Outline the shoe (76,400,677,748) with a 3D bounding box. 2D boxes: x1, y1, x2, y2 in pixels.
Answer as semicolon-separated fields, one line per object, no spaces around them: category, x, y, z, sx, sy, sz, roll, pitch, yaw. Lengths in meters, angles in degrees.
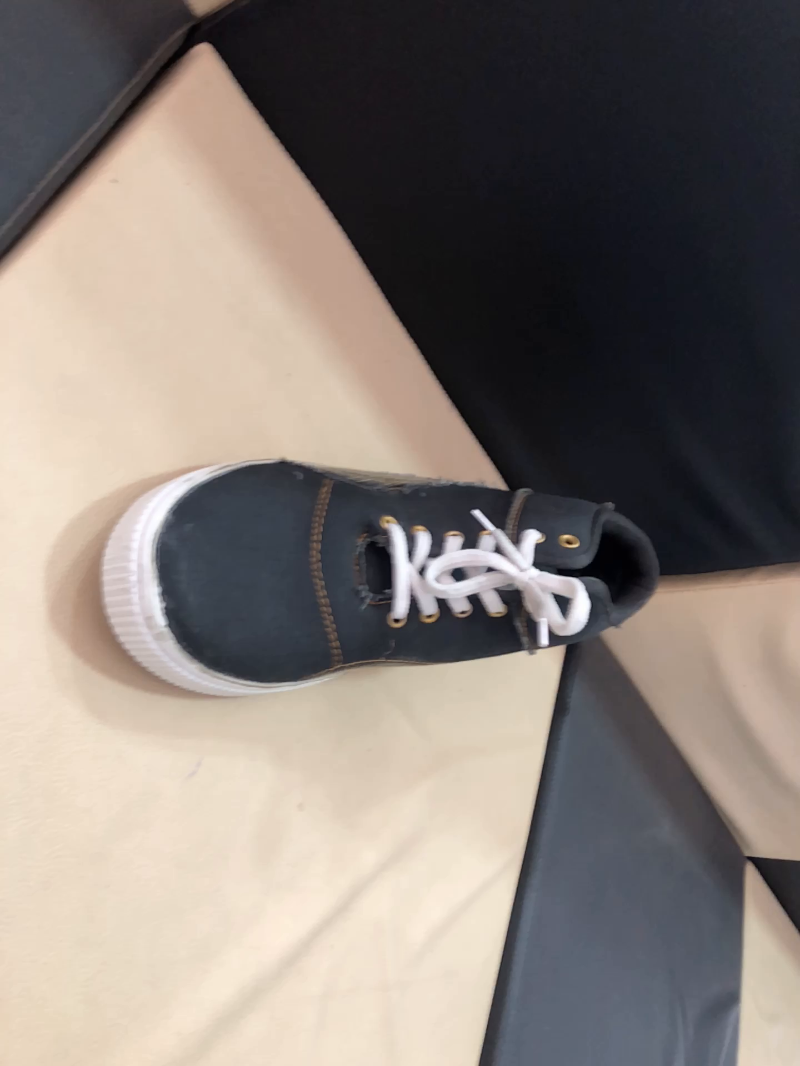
shoe;0.021;0.014;0.408;0.302;0.109;0.100;-3;85;-56
